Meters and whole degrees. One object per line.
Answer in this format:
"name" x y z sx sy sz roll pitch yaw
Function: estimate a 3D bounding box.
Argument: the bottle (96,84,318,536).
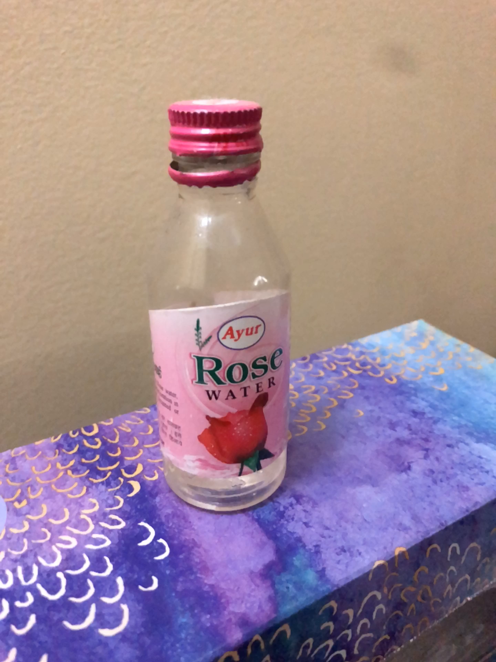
"bottle" -0.010 -0.006 0.139 0.040 0.100 0.040 -1 25 1
